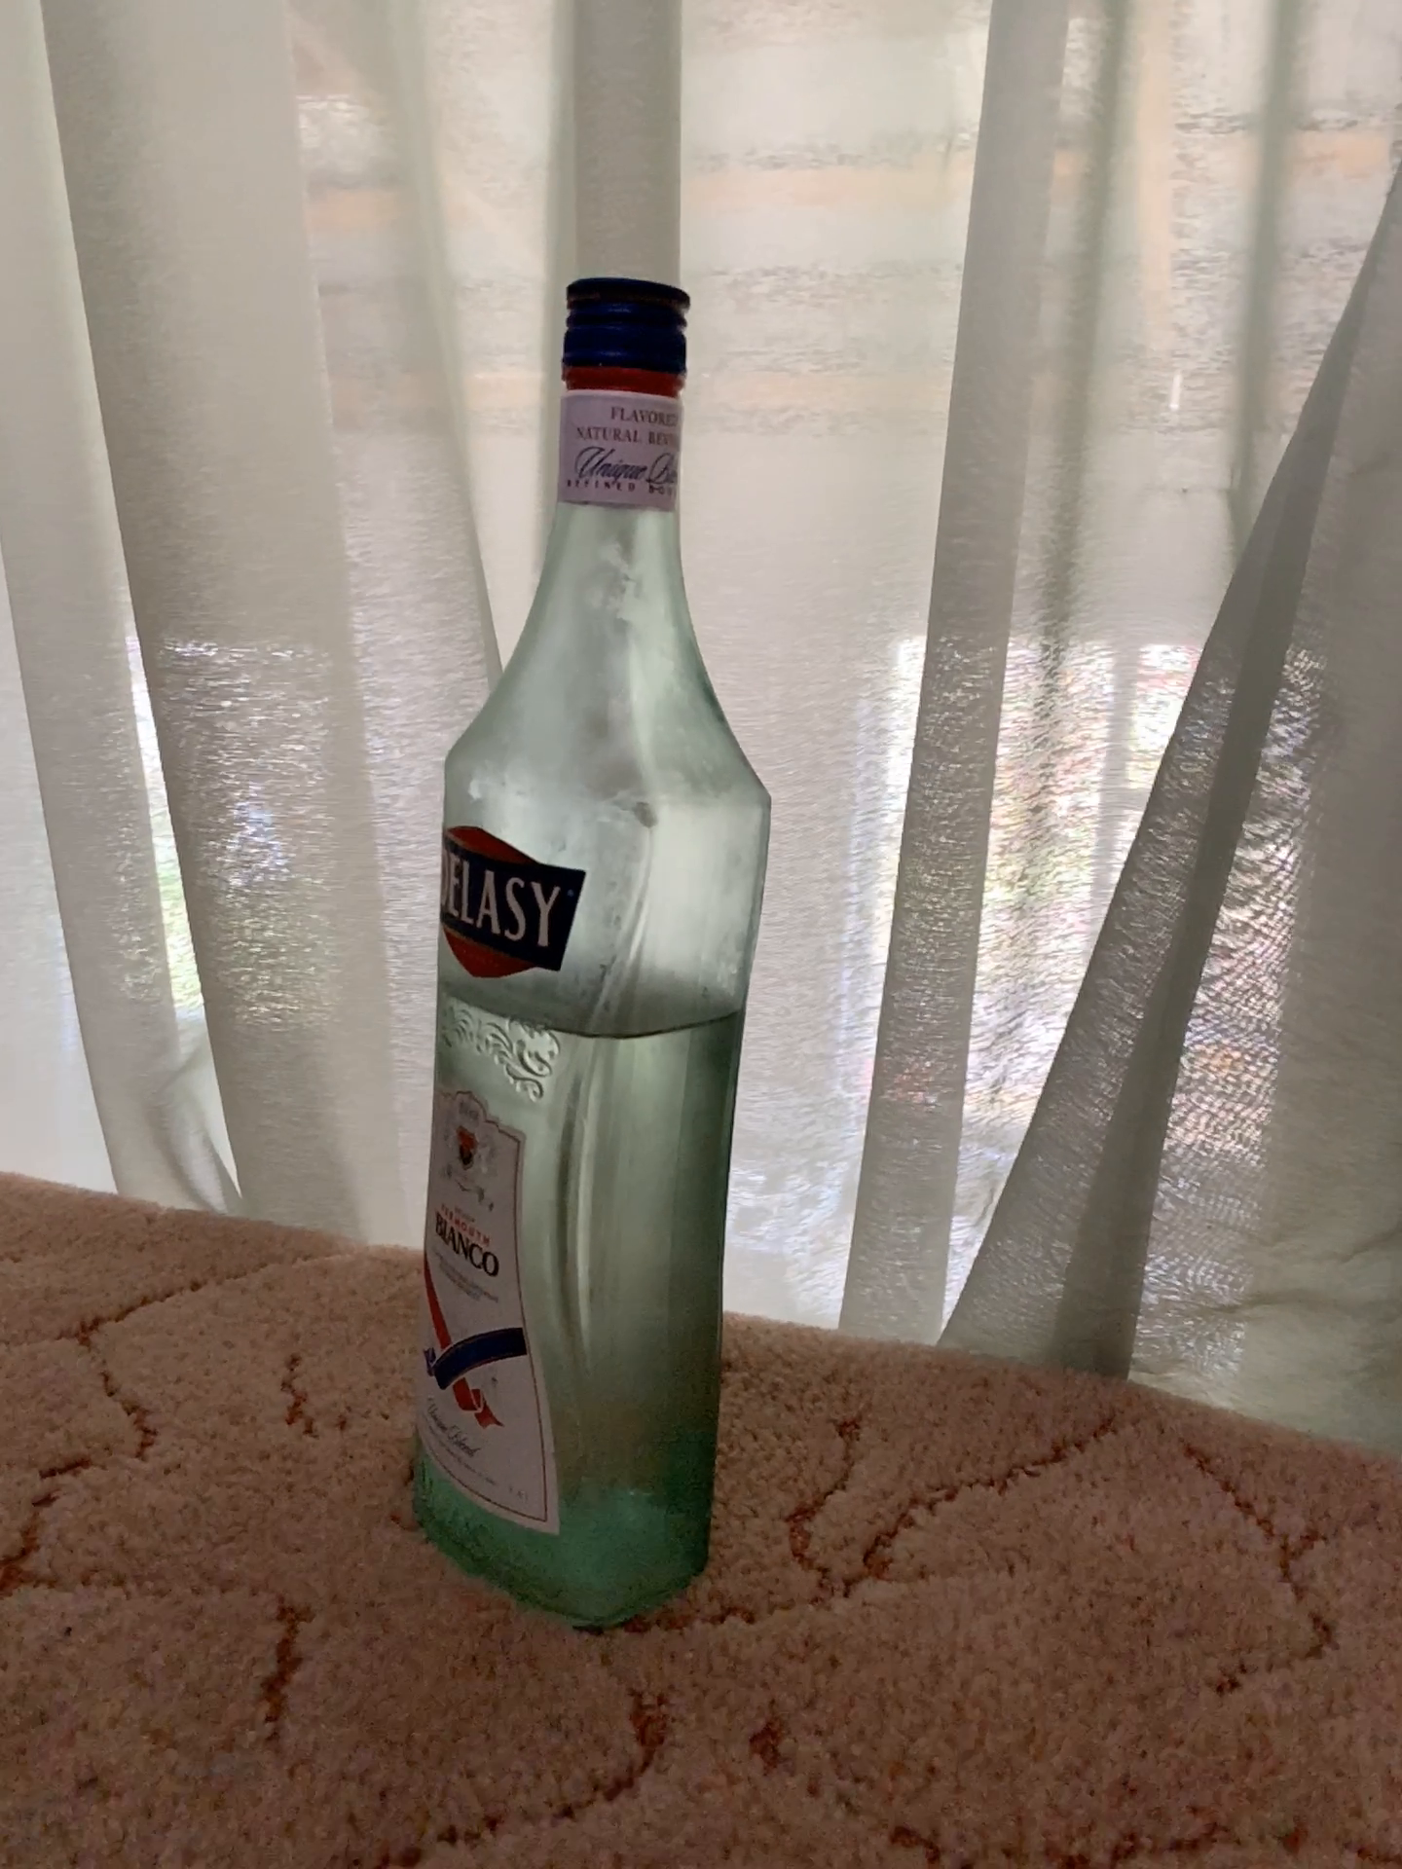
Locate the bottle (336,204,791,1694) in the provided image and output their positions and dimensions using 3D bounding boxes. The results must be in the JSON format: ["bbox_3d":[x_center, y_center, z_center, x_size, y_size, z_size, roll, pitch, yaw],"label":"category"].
[{"bbox_3d":[-0.043,0.006,0.372,0.060,0.329,0.110,-6,14,-35],"label":"bottle"}]
